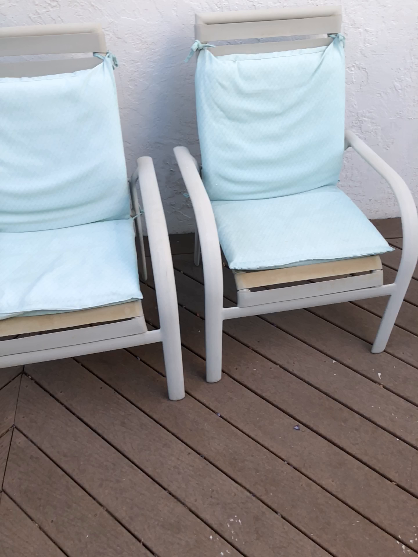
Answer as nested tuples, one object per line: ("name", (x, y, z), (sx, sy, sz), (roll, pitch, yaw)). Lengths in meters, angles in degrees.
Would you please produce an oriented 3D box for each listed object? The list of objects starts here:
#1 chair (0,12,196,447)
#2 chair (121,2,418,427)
("chair", (-0.458, -0.137, 1.390), (0.700, 0.965, 0.784), (-8, 46, -8))
("chair", (0.192, -0.203, 1.765), (0.840, 1.273, 0.874), (-8, 46, -8))
